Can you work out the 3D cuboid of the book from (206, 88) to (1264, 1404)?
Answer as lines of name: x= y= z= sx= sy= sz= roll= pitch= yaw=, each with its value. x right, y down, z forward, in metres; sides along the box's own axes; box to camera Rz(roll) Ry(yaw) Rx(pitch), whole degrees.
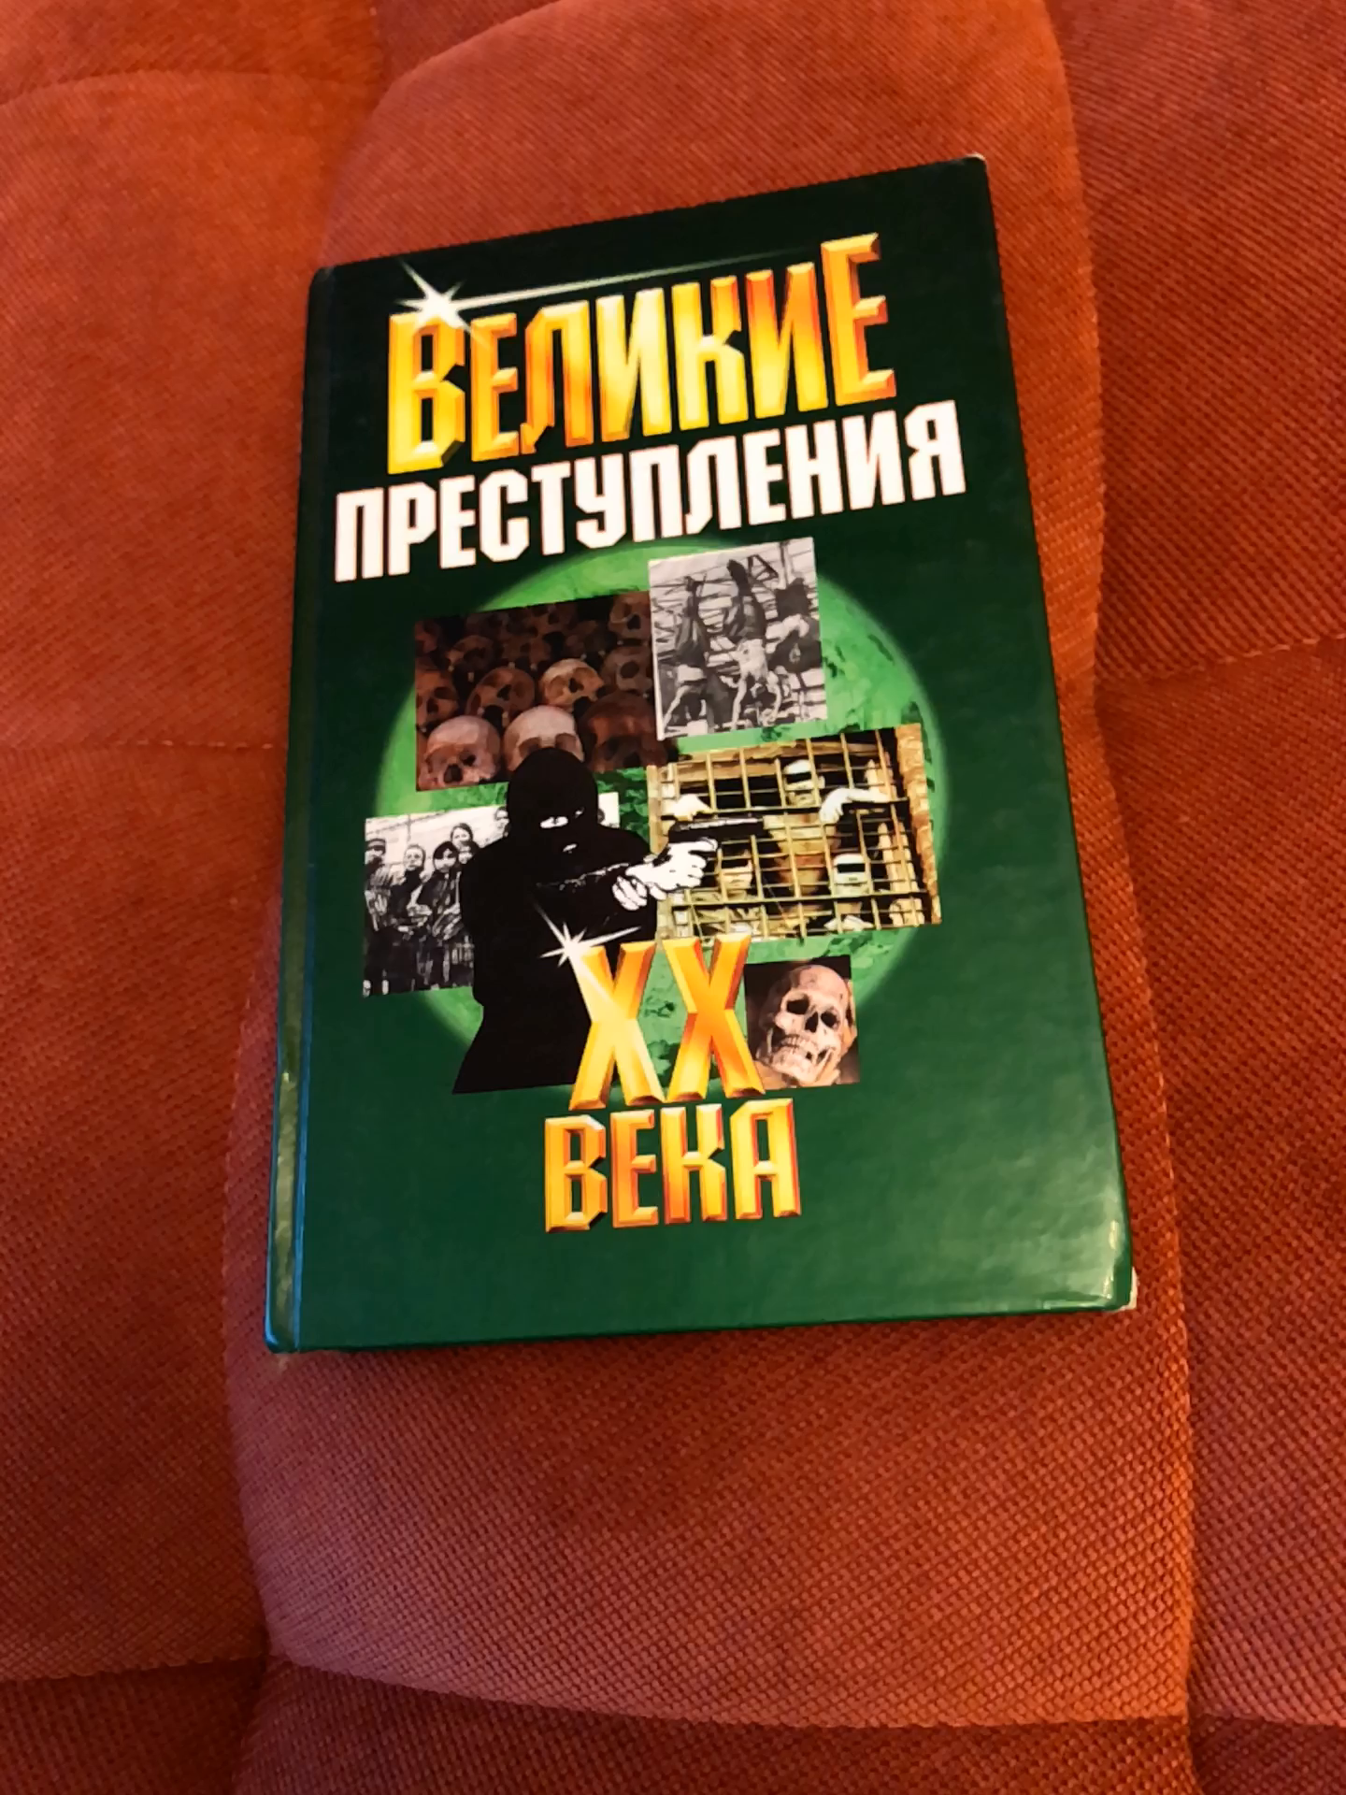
book: x=0.005 y=-0.030 z=0.278 sx=0.160 sy=0.040 sz=0.231 roll=-5 pitch=71 yaw=11
